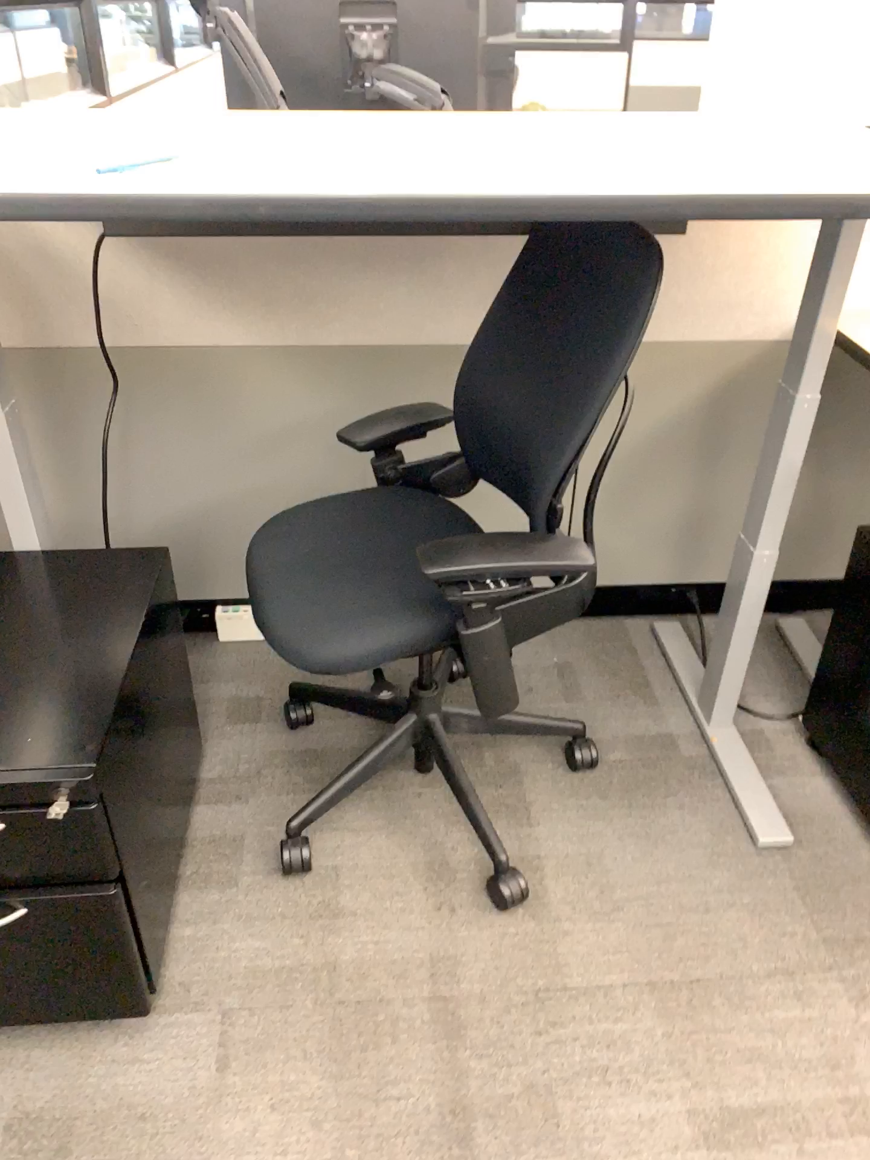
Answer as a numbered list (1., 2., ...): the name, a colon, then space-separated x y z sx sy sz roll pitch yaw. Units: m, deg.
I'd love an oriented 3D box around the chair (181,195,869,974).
1. chair: 0.040 -0.064 1.503 0.760 0.954 0.785 -7 34 -16
